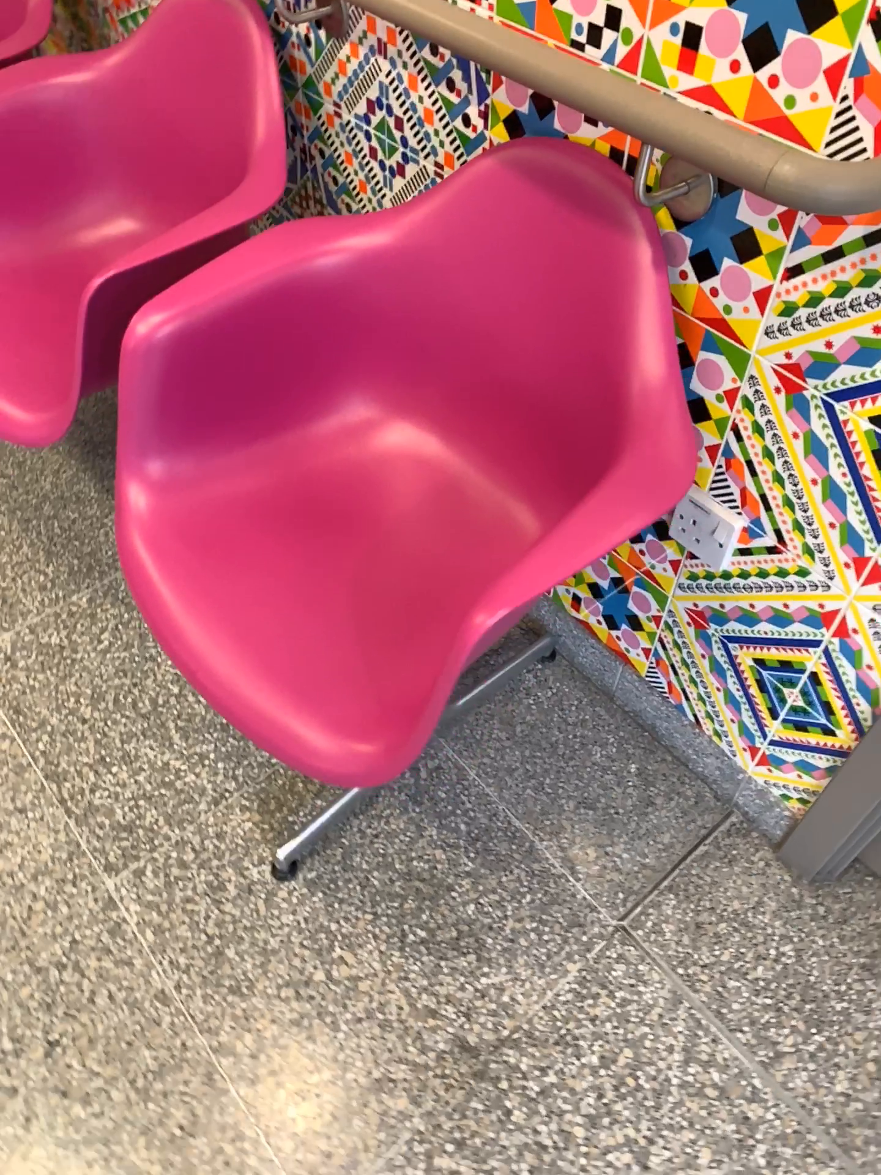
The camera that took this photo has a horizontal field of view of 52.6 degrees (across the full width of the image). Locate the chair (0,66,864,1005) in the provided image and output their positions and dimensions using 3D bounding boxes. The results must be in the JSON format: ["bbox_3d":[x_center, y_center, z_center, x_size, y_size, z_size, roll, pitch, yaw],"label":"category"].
[{"bbox_3d":[-0.045,-0.038,1.043,0.602,0.764,0.523,-33,58,-24],"label":"chair"}]

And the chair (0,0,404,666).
[{"bbox_3d":[-0.462,-0.424,1.343,0.602,0.764,0.523,-33,58,-24],"label":"chair"}]
